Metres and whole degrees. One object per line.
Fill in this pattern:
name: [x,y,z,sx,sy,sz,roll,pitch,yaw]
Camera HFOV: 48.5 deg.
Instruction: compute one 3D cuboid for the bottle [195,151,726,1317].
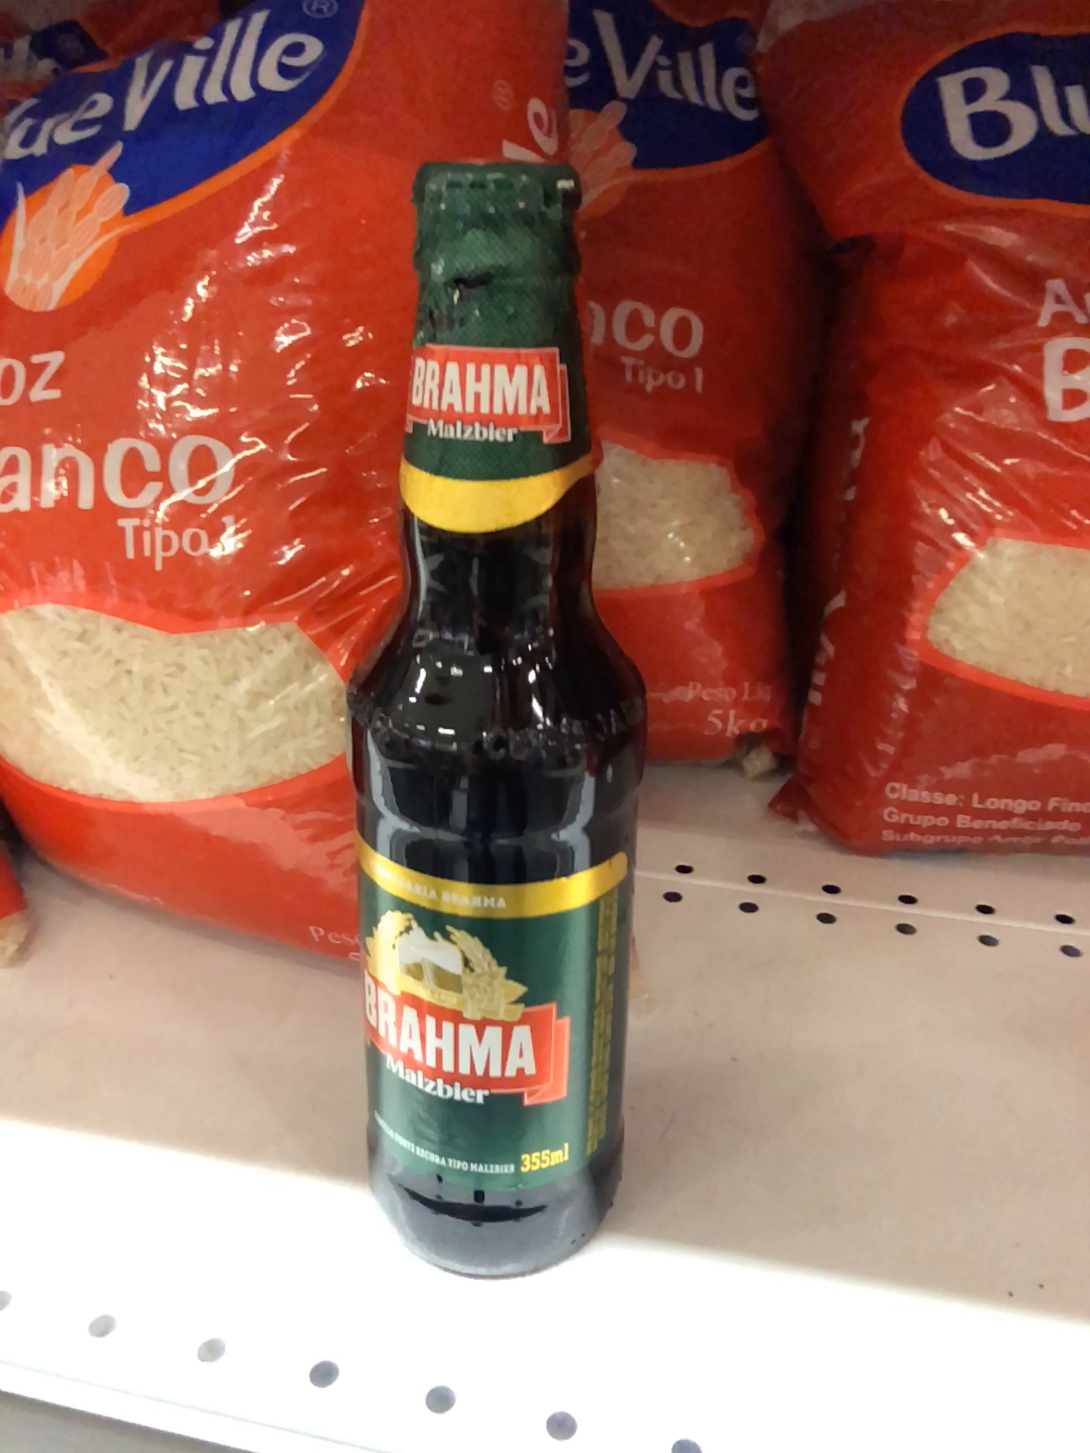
bottle: [-0.012,0.010,0.249,0.070,0.228,0.060,8,28,14]
